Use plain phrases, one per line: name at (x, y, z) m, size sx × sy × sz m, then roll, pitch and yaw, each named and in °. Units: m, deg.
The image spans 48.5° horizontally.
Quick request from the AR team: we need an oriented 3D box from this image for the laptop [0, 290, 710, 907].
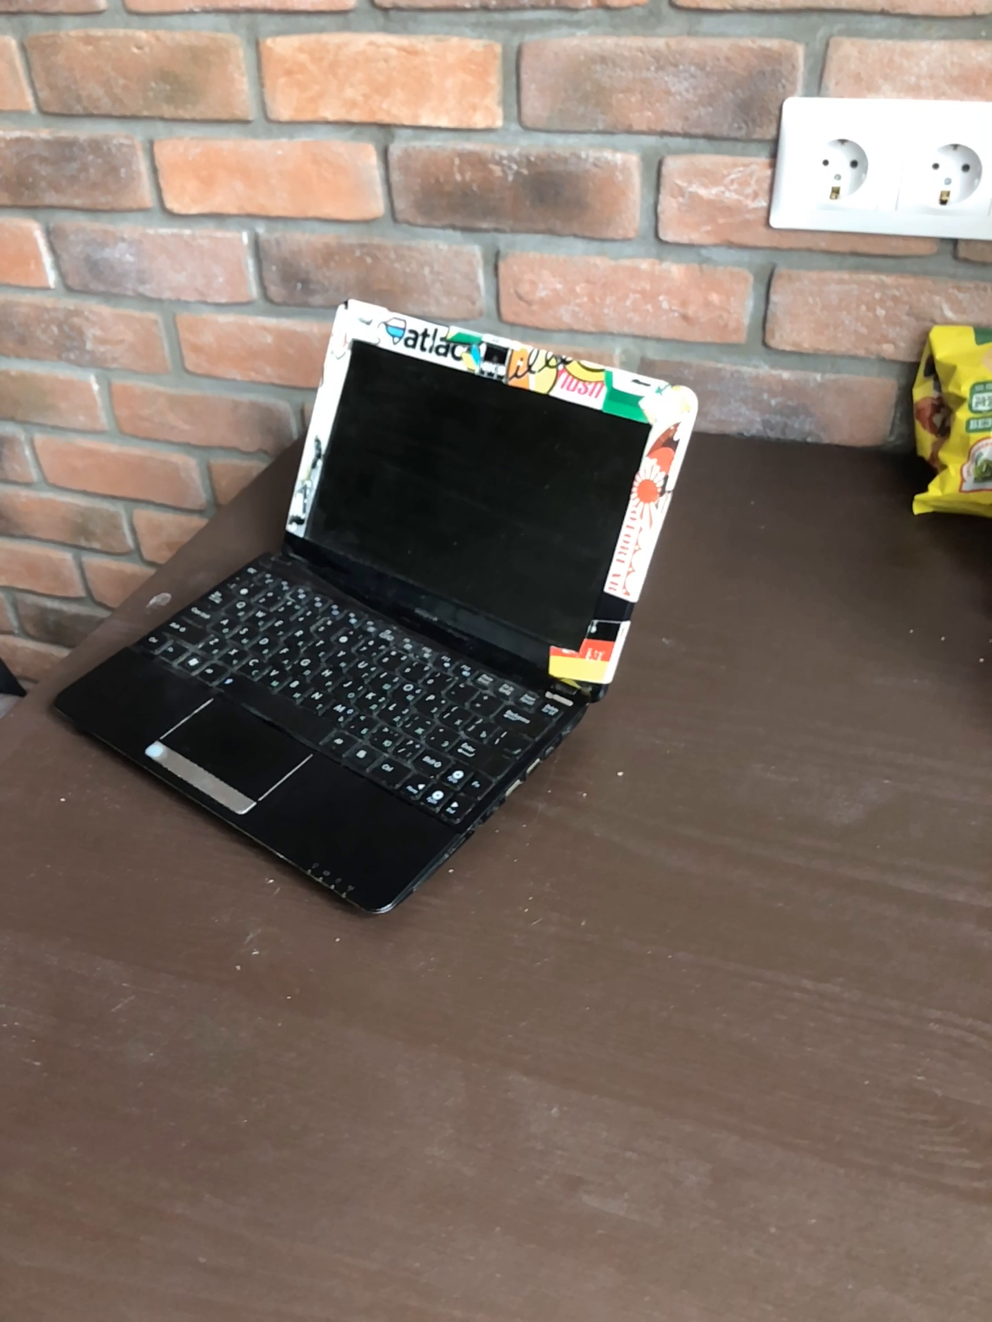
laptop at (-0.076, -0.062, 0.588) m, size 0.258 × 0.140 × 0.268 m, roll 25°, pitch 47°, yaw 32°
